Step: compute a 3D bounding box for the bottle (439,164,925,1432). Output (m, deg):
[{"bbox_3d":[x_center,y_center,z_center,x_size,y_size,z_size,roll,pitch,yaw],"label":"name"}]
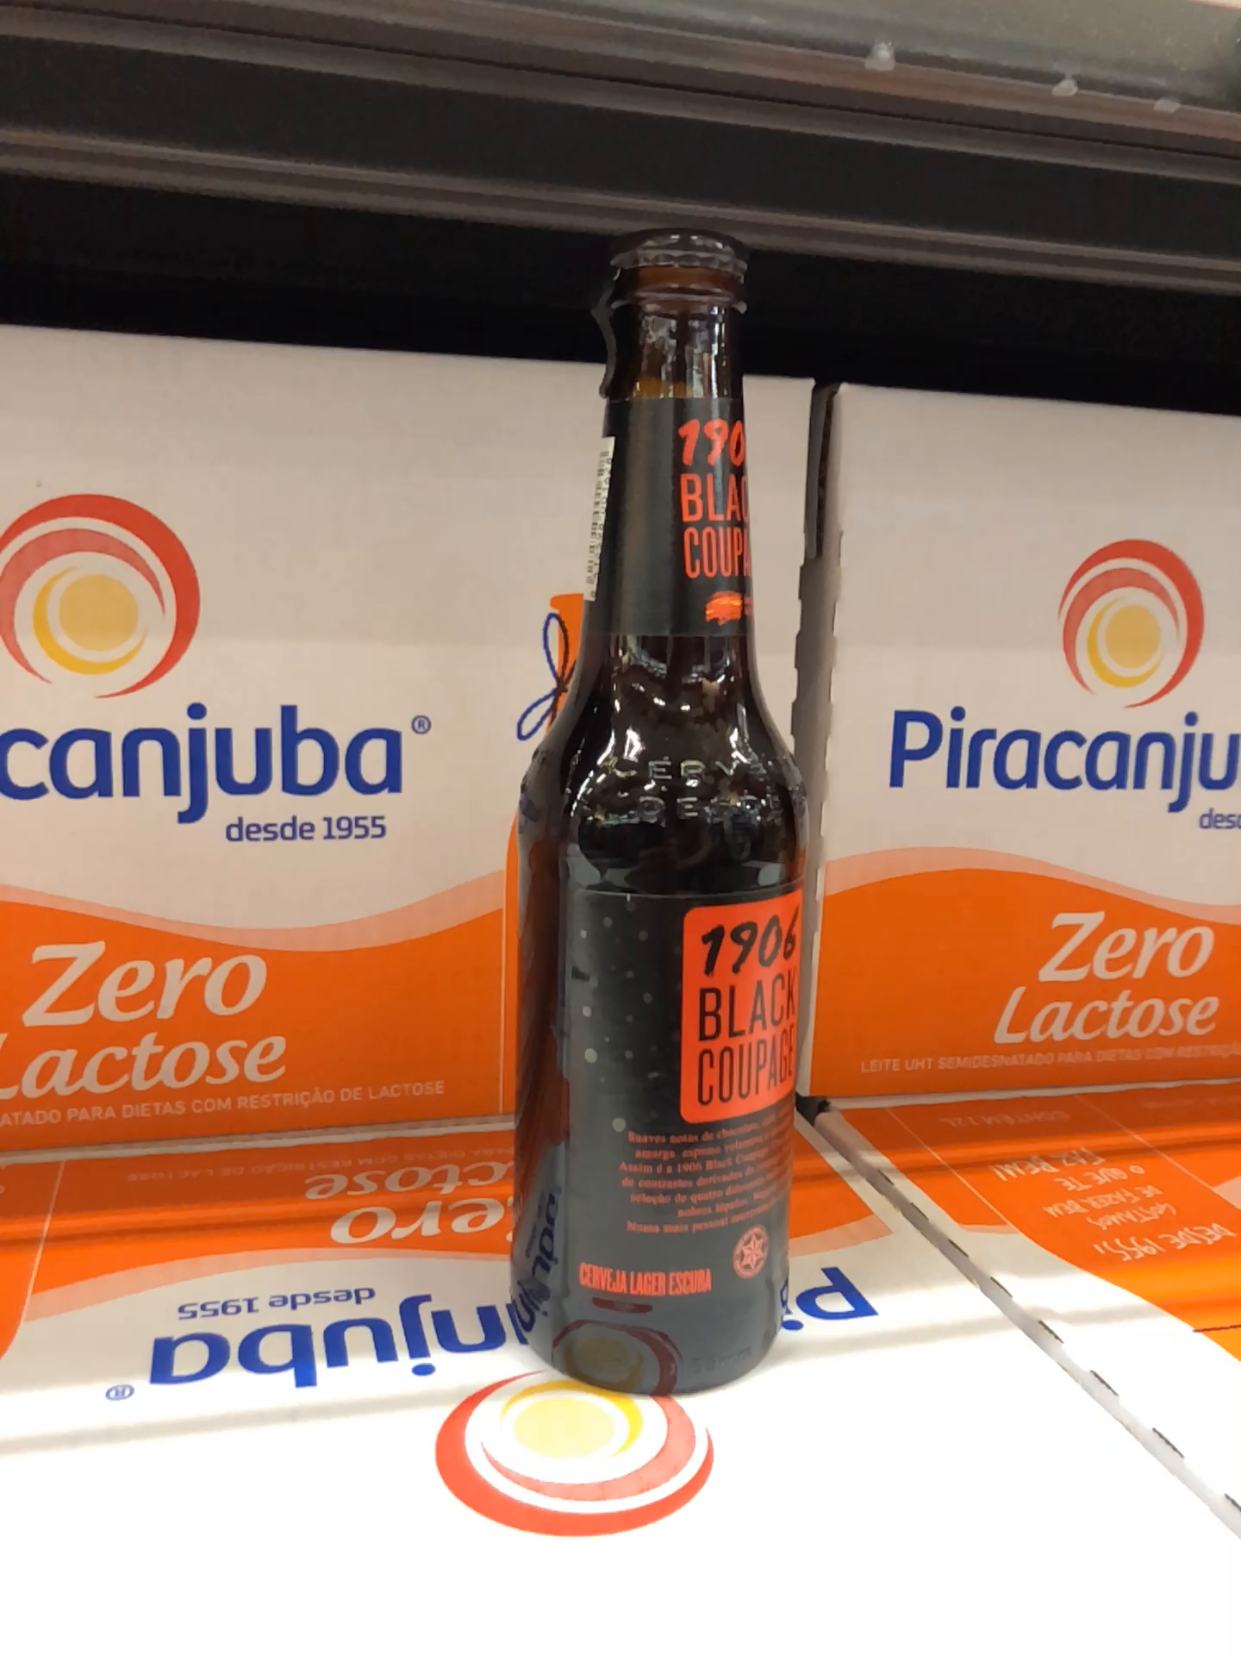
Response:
[{"bbox_3d":[0.010,-0.005,0.282,0.060,0.219,0.070,10,12,44],"label":"bottle"}]
